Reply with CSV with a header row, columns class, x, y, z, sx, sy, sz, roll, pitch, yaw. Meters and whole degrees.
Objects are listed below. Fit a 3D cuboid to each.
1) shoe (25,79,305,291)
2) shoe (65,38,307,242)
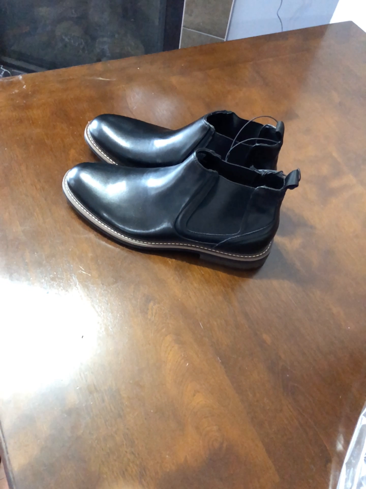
class,x,y,z,sx,sy,sz,roll,pitch,yaw
shoe,-0.021,-0.070,0.532,0.300,0.170,0.120,16,56,2
shoe,-0.001,-0.151,0.604,0.300,0.170,0.120,22,56,6
